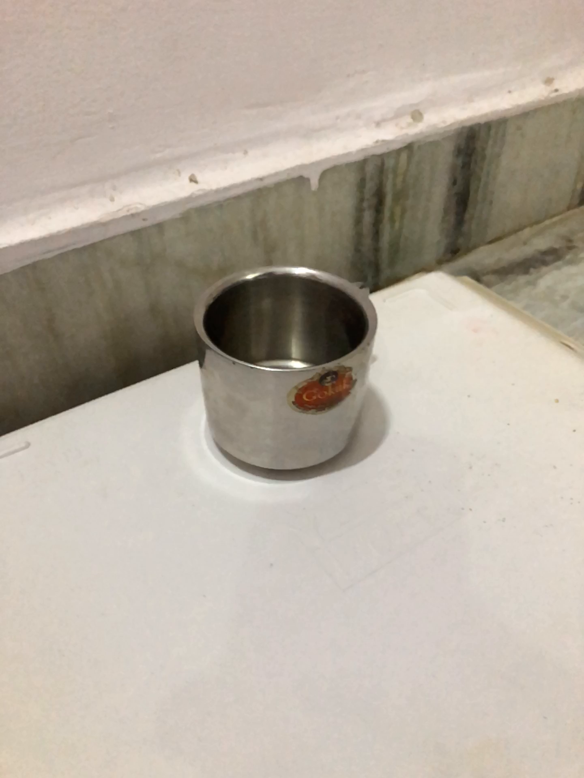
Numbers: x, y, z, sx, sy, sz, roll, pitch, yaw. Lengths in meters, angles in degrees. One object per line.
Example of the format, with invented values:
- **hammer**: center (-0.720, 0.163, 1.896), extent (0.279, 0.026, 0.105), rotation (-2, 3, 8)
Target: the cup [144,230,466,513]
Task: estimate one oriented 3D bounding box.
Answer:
- **cup**: center (0.006, -0.014, 0.274), extent (0.100, 0.050, 0.080), rotation (-32, 50, -33)
